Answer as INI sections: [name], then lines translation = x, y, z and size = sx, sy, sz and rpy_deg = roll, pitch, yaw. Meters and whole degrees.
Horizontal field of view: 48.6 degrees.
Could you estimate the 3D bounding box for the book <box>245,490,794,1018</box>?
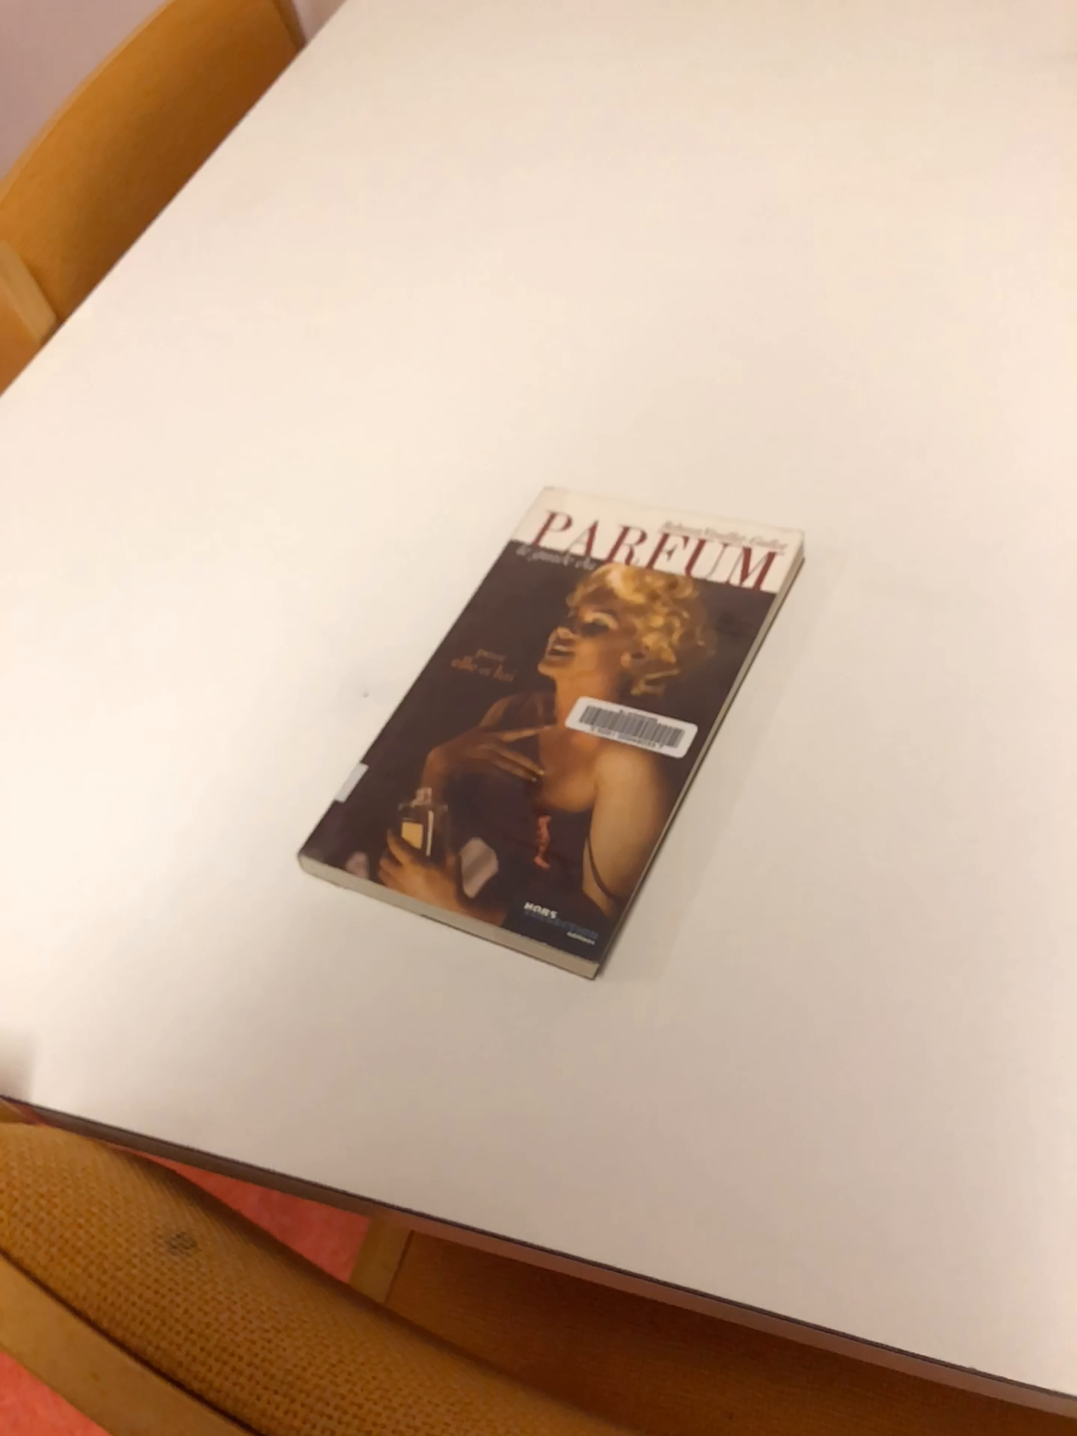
[book]
translation = 0.000, -0.002, 0.462
size = 0.133, 0.020, 0.211
rpy_deg = 14, 56, 24
